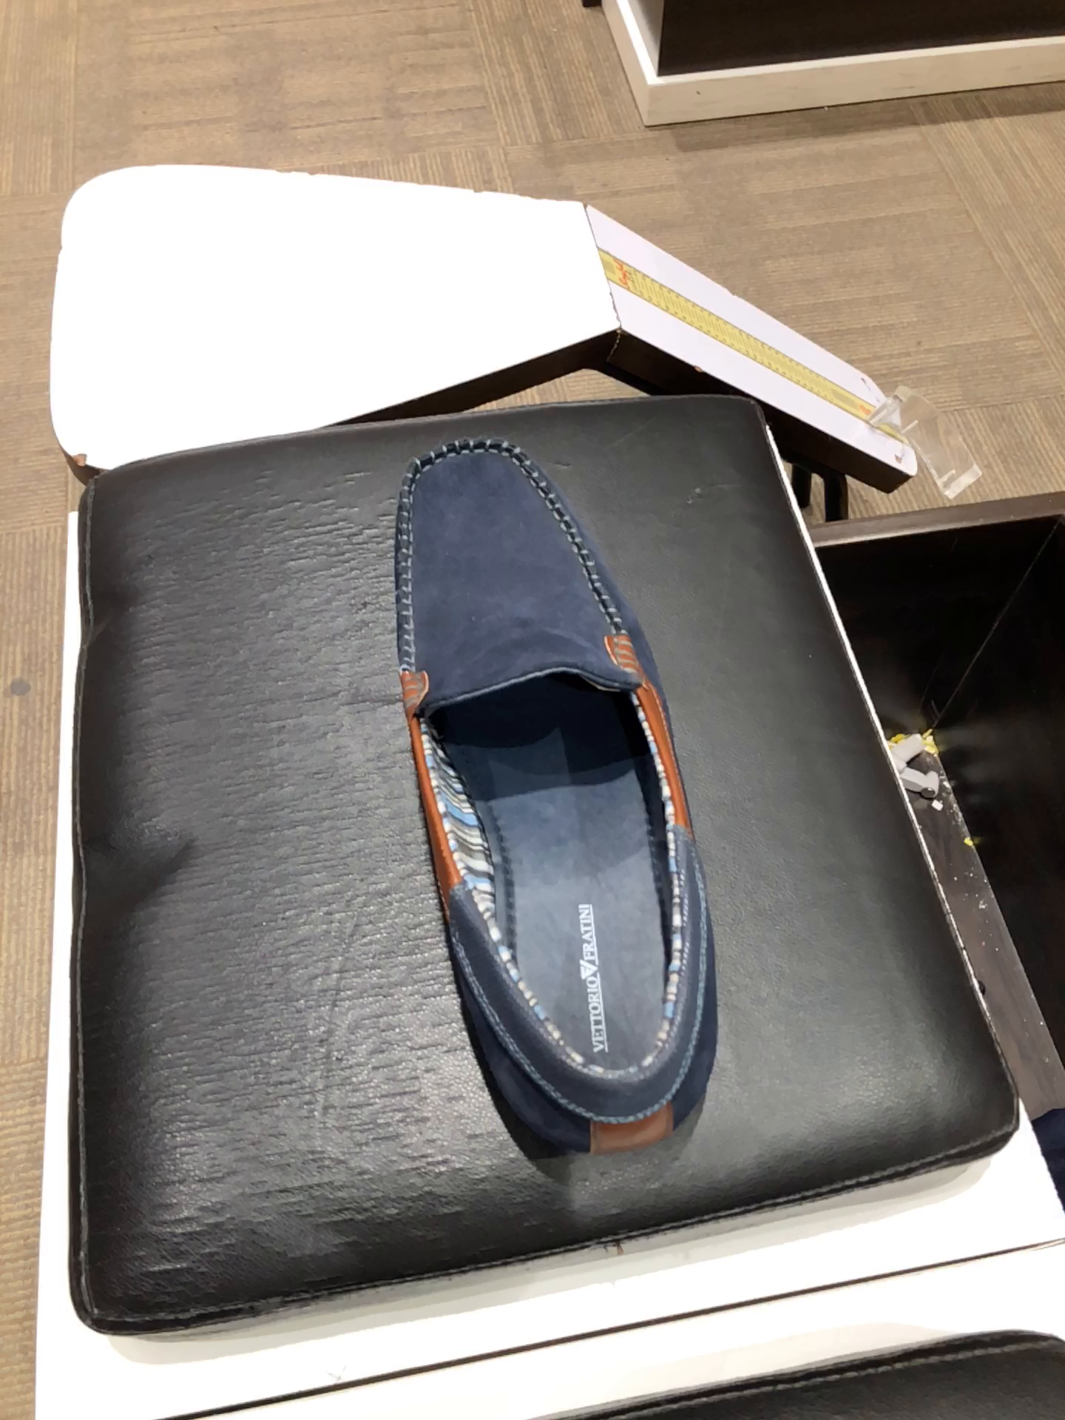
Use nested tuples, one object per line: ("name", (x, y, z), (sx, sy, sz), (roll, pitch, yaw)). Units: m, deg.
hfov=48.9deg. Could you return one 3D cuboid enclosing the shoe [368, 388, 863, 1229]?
("shoe", (0.014, 0.025, 0.447), (0.110, 0.100, 0.292), (-9, 60, -6))
